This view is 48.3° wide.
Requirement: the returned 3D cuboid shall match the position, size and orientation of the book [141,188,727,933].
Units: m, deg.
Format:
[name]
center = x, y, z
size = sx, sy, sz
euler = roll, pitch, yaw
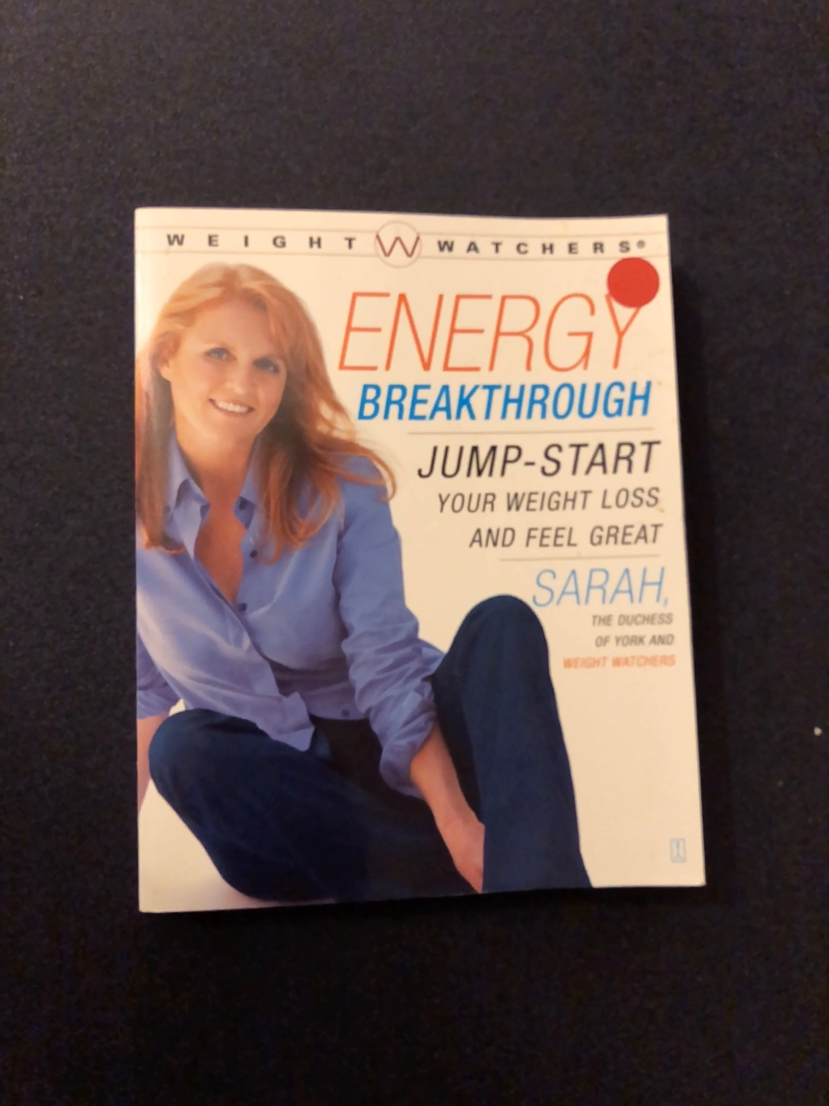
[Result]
[book]
center = 0.005, -0.002, 0.315
size = 0.185, 0.030, 0.234
euler = -1, 84, -7
